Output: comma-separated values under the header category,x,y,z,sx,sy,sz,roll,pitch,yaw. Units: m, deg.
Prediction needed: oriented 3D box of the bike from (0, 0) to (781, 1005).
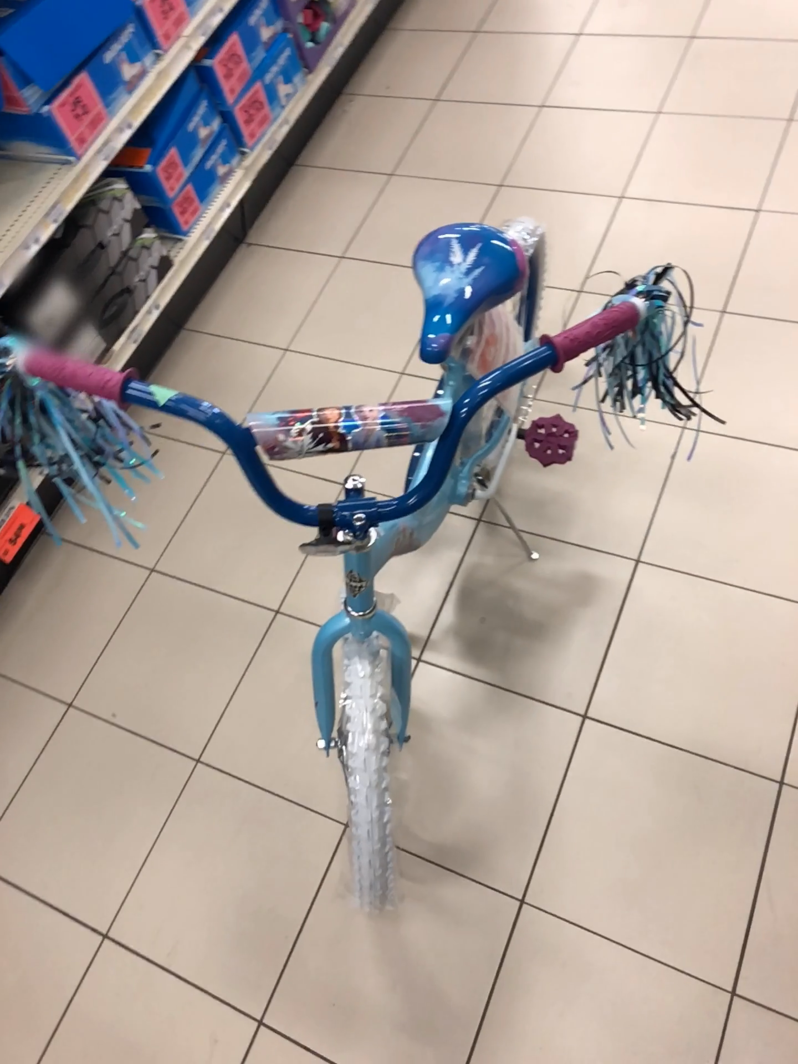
category,x,y,z,sx,sy,sz,roll,pitch,yaw
bike,0.082,-0.116,1.188,0.641,0.955,1.177,6,58,18
